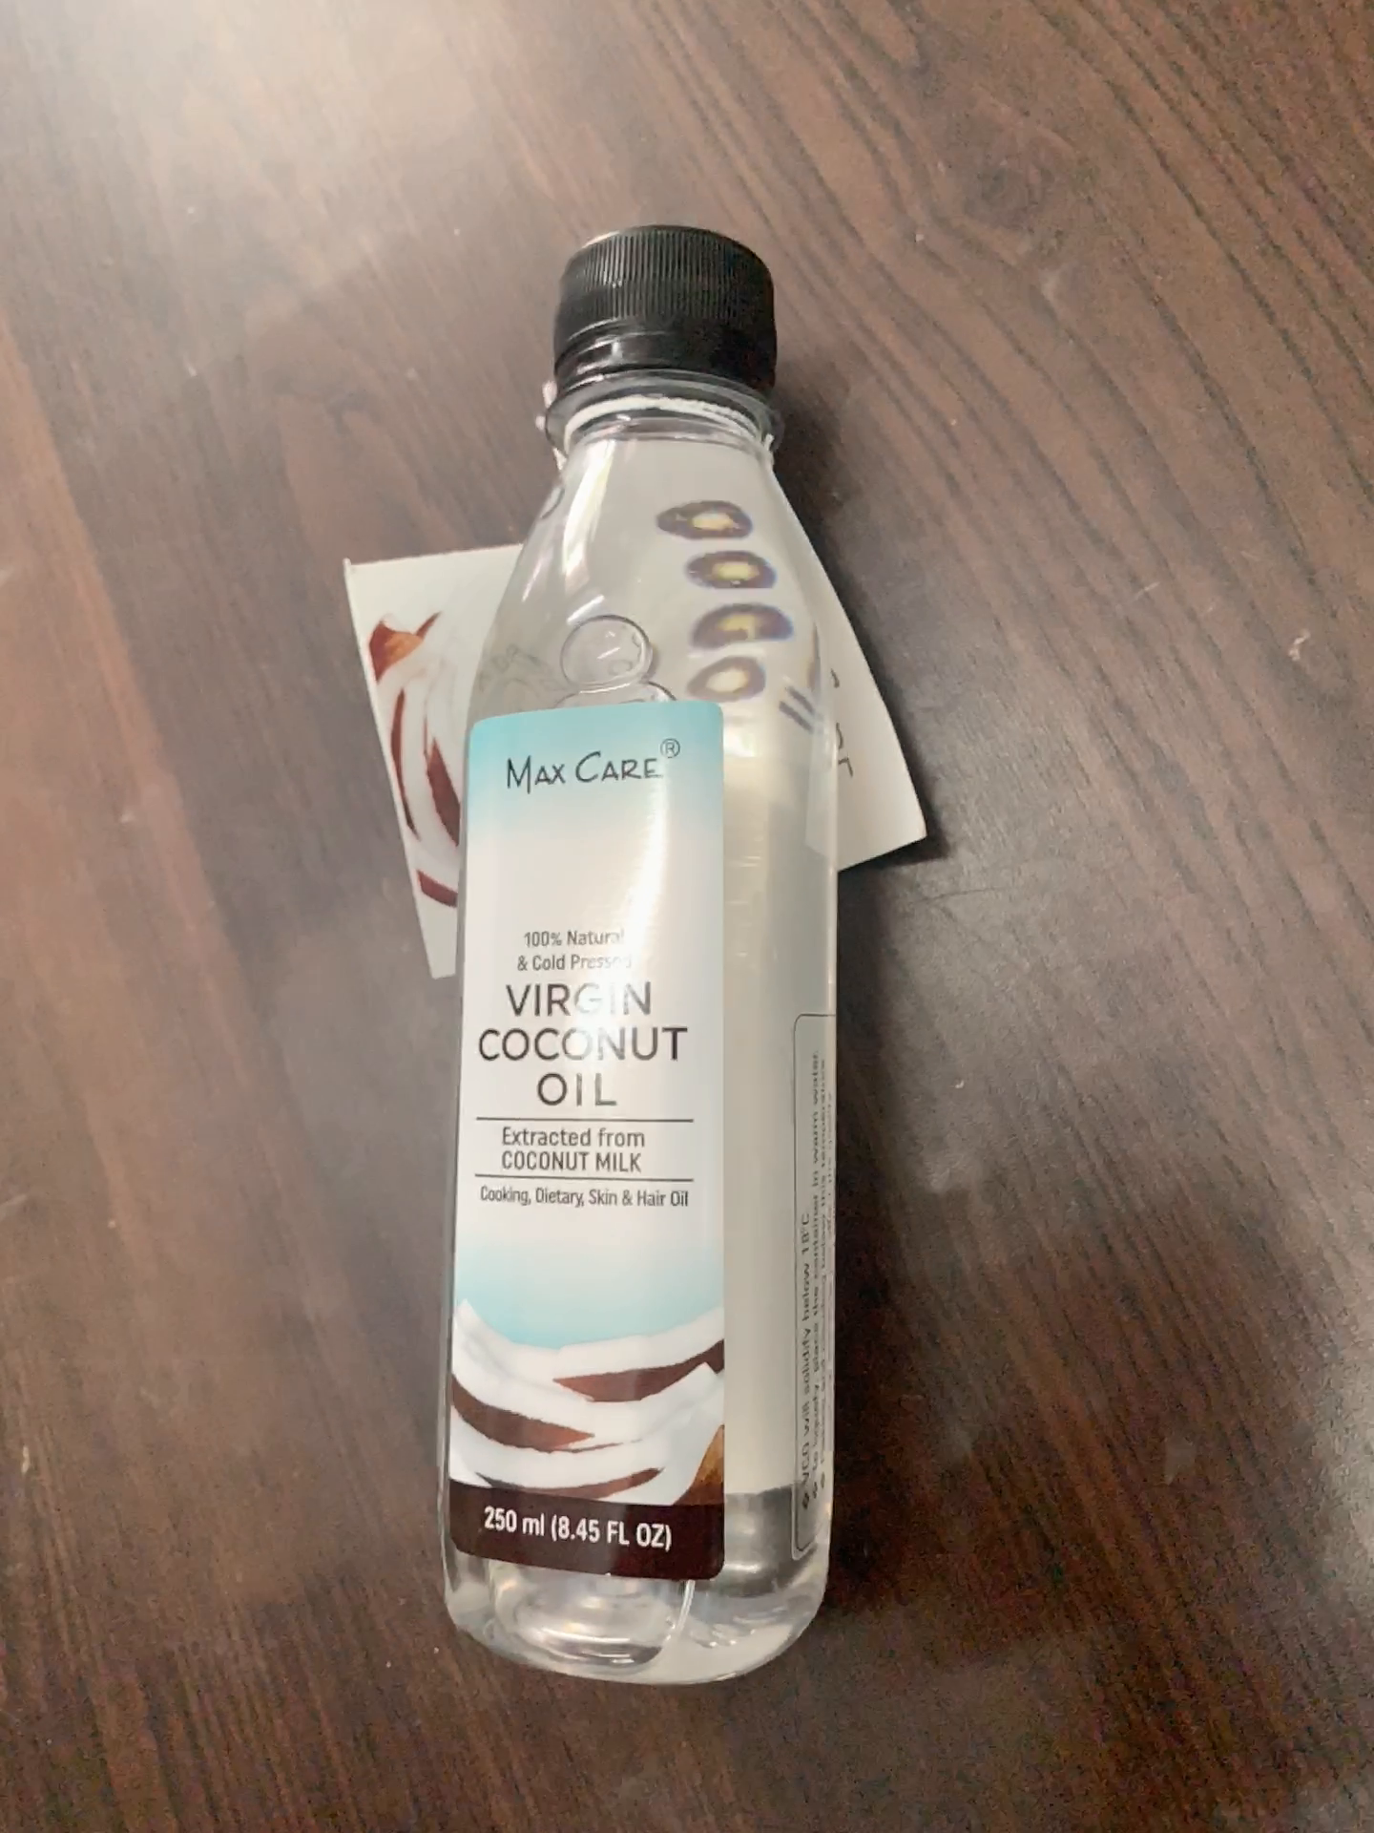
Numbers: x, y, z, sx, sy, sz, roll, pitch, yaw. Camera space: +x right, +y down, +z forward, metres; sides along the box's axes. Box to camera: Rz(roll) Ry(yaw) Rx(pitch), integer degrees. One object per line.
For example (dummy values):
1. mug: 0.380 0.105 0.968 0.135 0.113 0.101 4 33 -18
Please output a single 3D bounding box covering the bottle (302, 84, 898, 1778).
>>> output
1. bottle: -0.005 -0.002 0.174 0.050 0.050 0.170 0 82 17
